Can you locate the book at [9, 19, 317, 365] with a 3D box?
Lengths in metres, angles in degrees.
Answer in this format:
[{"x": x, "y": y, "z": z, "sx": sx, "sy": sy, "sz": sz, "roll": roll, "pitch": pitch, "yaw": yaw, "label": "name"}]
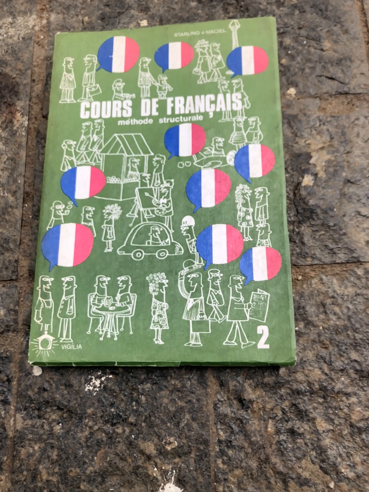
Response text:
[{"x": -0.015, "y": -0.037, "z": 0.253, "sx": 0.167, "sy": 0.013, "sz": 0.211, "roll": -2, "pitch": 76, "yaw": 6, "label": "book"}]
